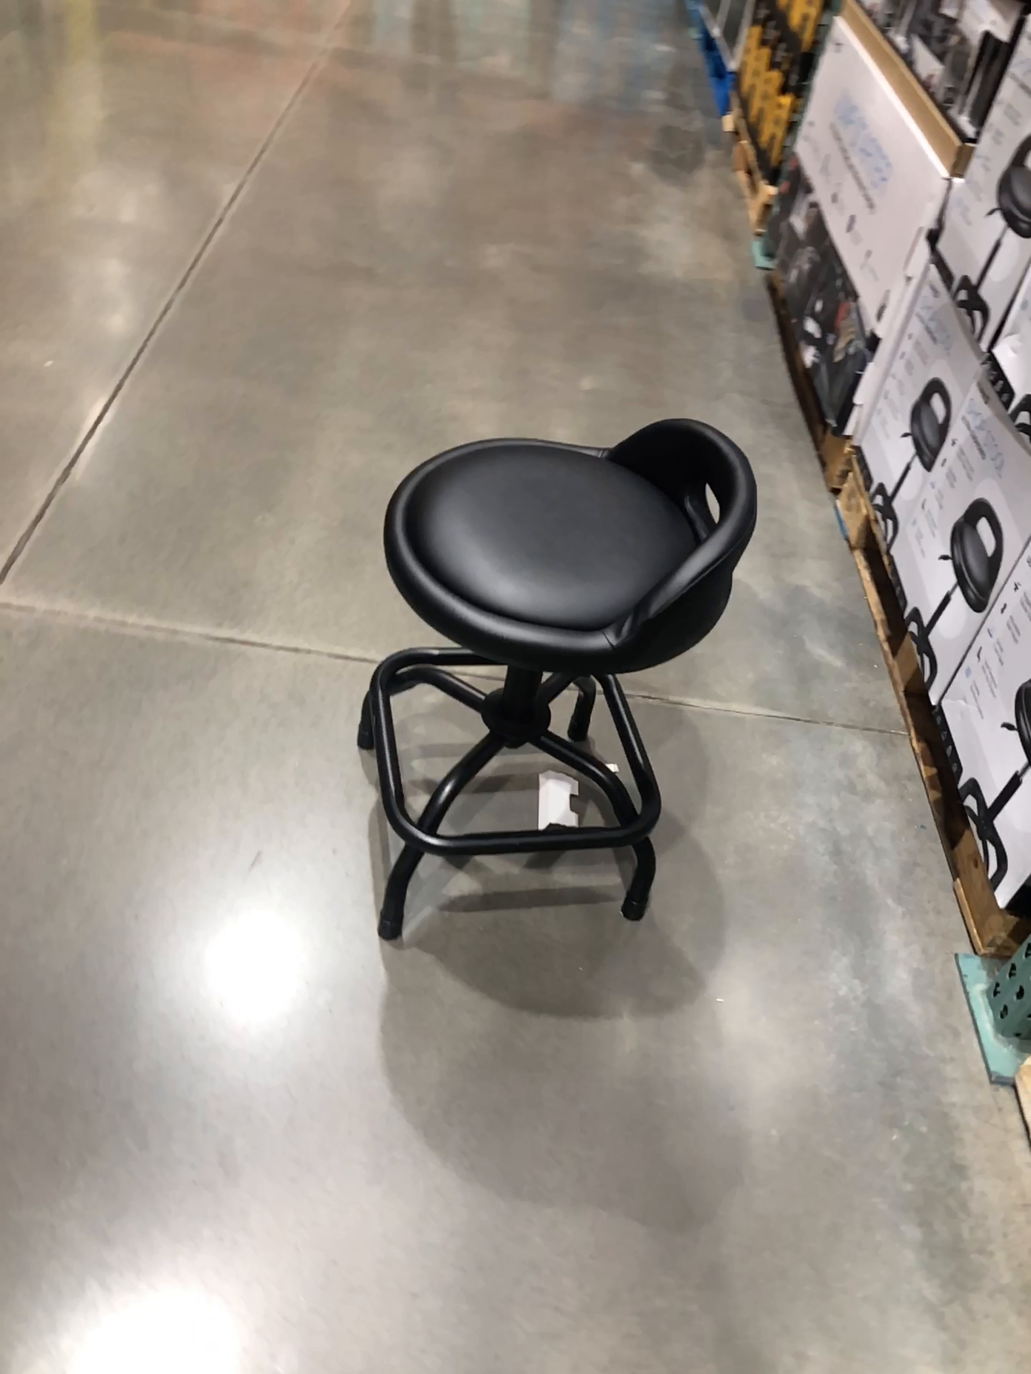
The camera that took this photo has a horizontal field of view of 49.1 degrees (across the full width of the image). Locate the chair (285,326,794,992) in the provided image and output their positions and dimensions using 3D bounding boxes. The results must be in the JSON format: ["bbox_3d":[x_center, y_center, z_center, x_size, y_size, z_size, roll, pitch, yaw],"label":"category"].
[{"bbox_3d":[0.009,-0.031,1.512,0.501,0.627,0.522,10,42,-1],"label":"chair"}]
